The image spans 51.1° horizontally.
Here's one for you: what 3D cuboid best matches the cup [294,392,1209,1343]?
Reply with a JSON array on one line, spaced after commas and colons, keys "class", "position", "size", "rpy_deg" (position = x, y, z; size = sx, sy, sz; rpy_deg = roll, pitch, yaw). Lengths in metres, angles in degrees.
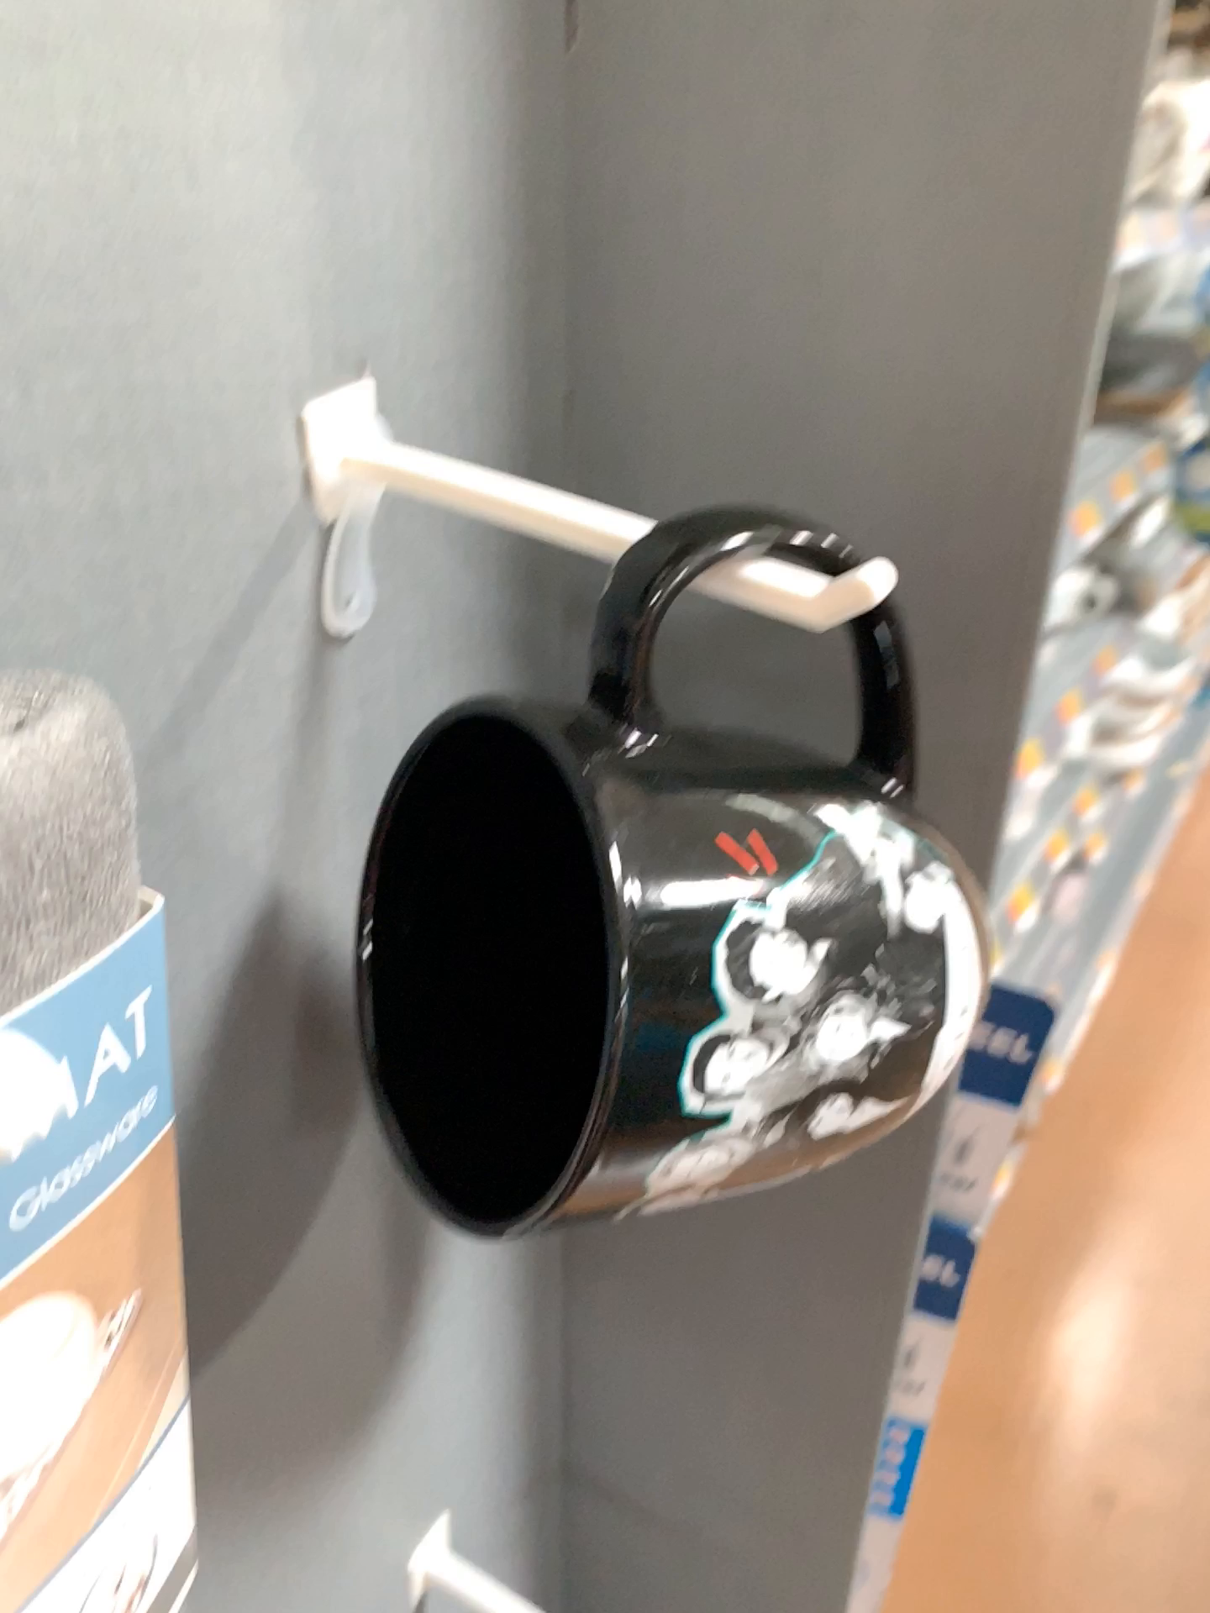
[{"class": "cup", "position": [0.024, 0.008, 0.238], "size": [0.115, 0.128, 0.087], "rpy_deg": [4, 22, -37]}]
